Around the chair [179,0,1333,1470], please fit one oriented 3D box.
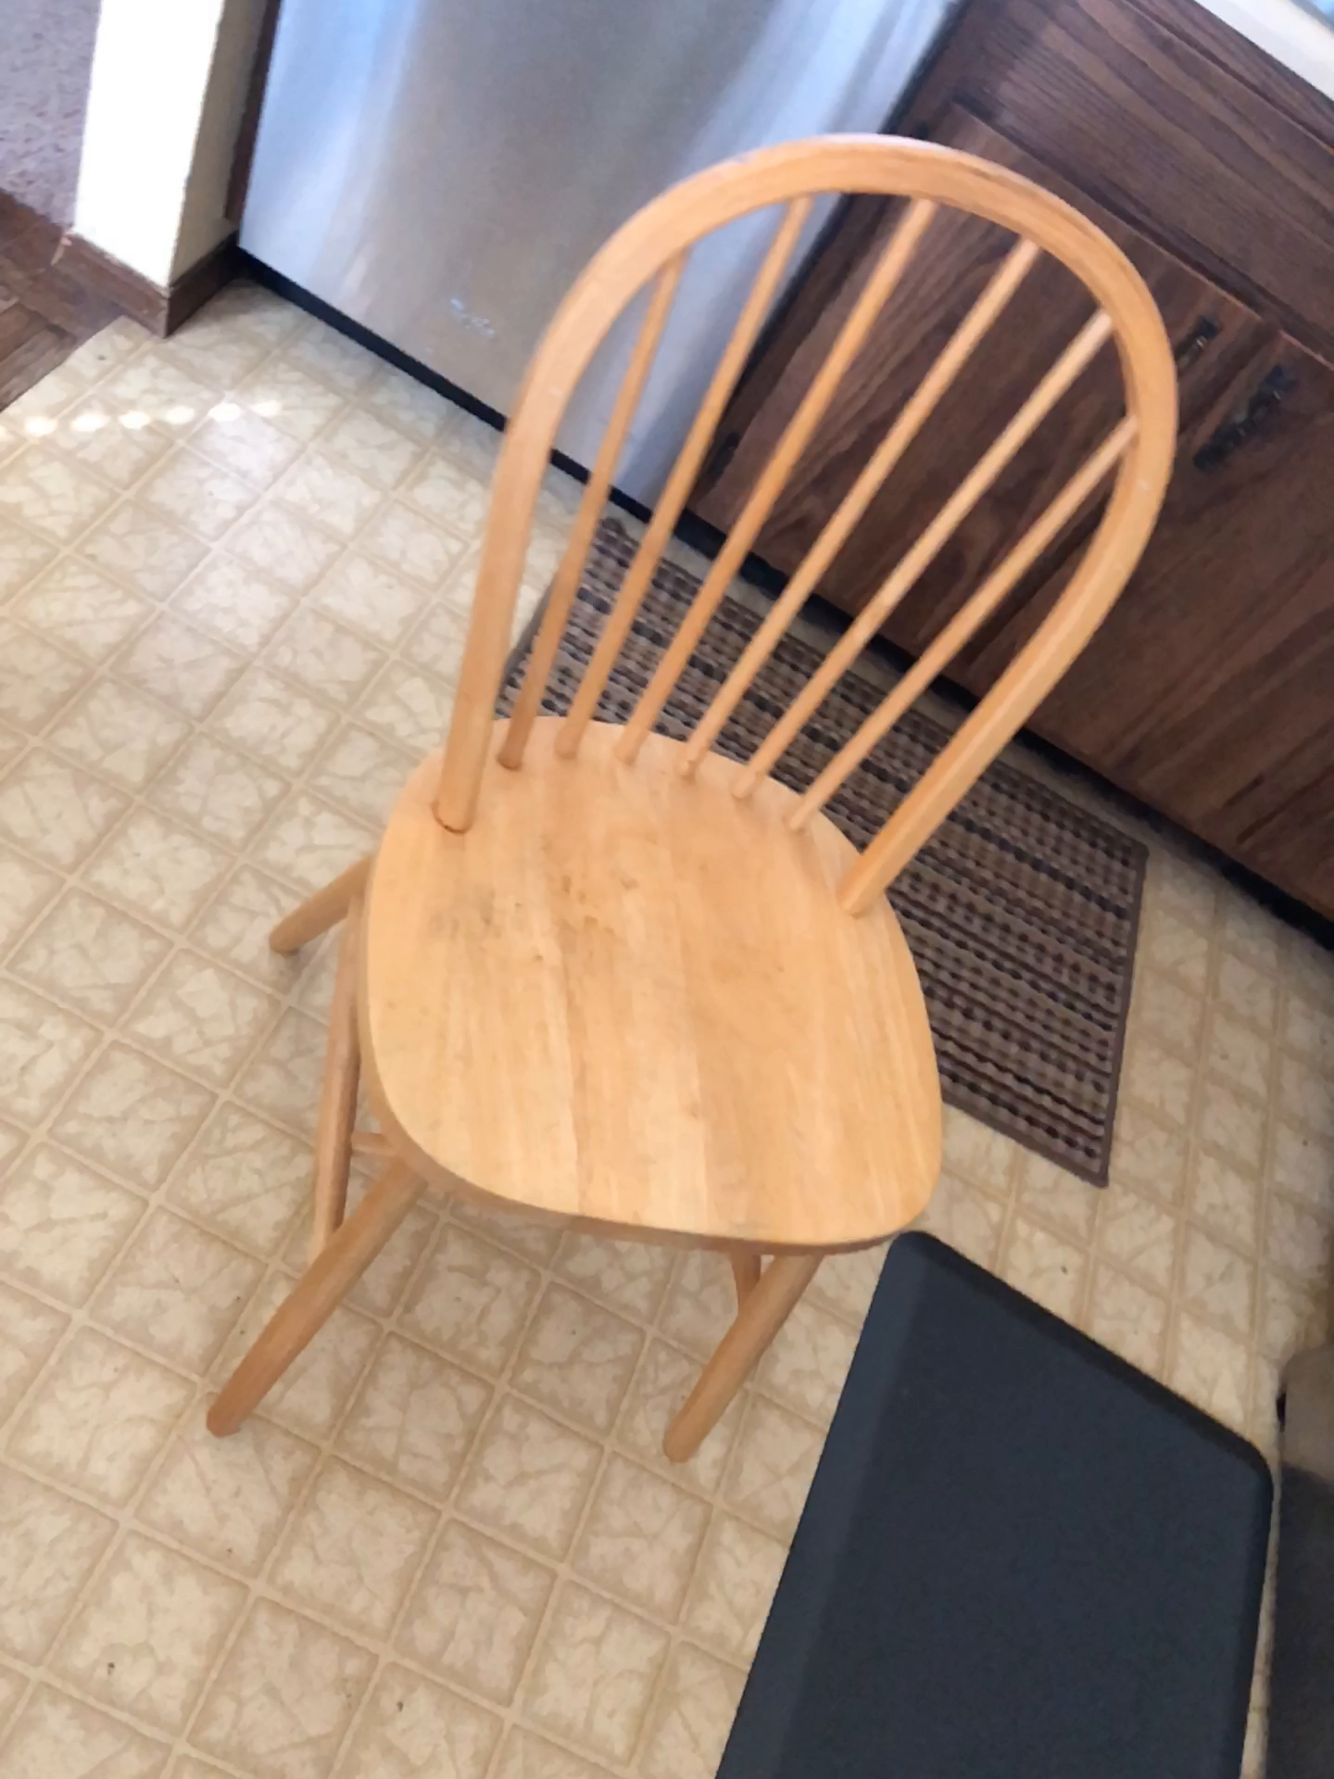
[{"bbox_3d":[0.011,0.000,1.016,0.461,0.898,0.560,12,54,-22],"label":"chair"}]
